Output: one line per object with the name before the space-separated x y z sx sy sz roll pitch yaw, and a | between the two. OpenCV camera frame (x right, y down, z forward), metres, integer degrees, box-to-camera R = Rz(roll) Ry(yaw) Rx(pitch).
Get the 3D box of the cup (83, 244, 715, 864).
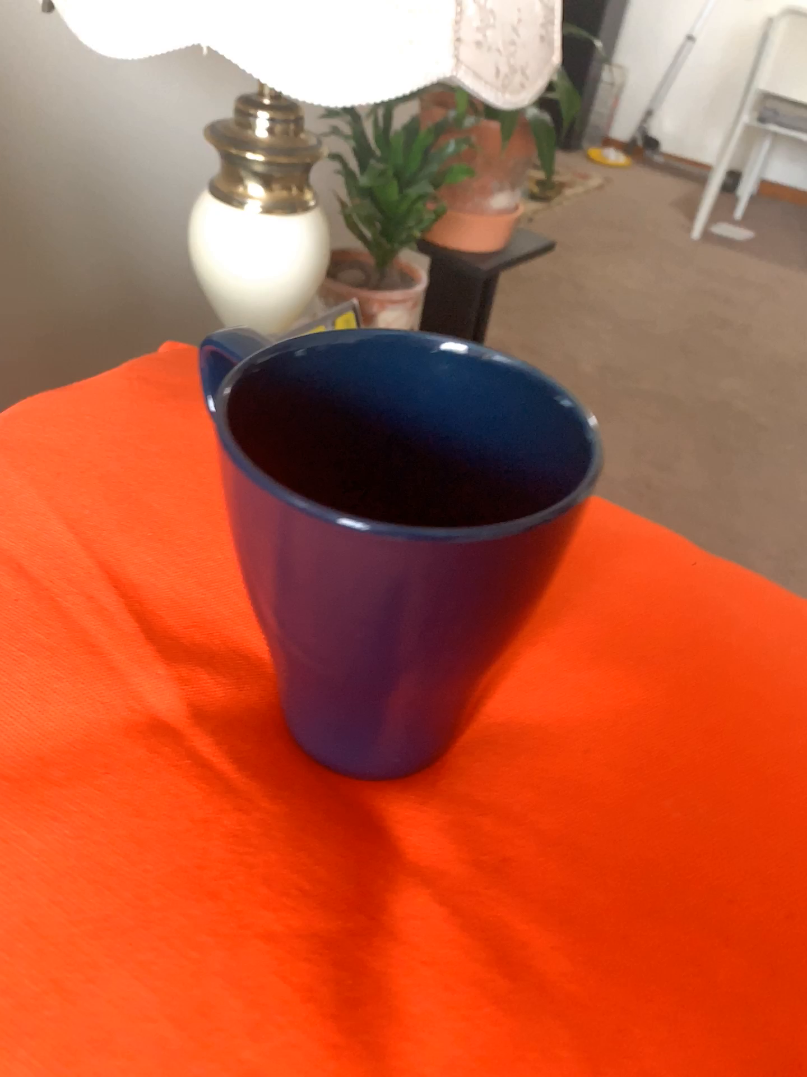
cup | -0.009 -0.008 0.207 0.080 0.079 0.120 -24 49 -37
